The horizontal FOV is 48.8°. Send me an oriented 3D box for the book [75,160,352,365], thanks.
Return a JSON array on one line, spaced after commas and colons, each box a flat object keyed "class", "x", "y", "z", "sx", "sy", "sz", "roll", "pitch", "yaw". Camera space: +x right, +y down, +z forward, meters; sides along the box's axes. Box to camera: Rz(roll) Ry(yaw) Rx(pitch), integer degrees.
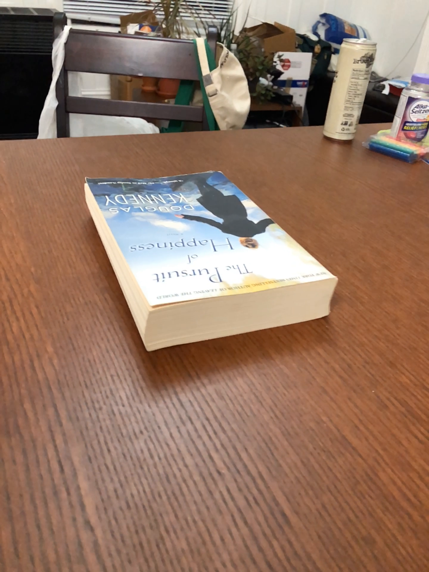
[{"class": "book", "x": -0.021, "y": -0.044, "z": 0.420, "sx": 0.160, "sy": 0.050, "sz": 0.241, "roll": -9, "pitch": 35, "yaw": -21}]
